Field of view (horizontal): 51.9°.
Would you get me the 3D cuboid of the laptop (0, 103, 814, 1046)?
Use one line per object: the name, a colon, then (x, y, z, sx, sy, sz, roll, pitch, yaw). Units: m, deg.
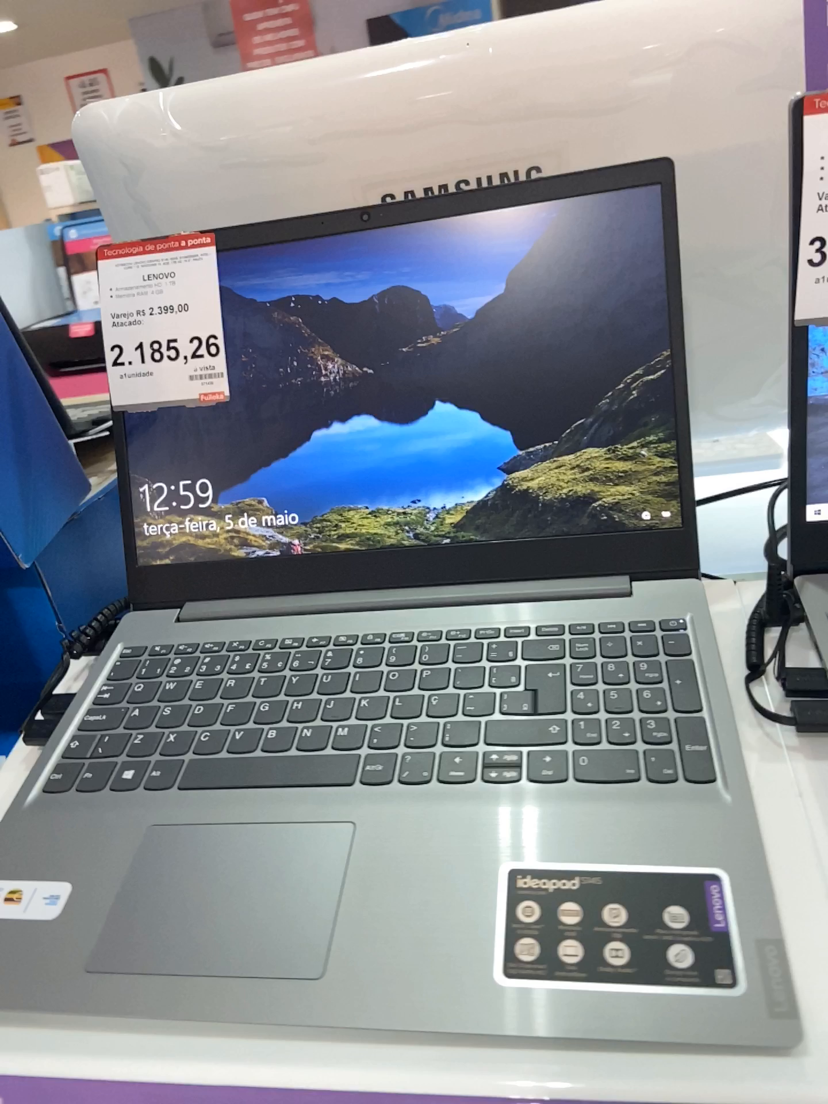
laptop: (-0.040, -0.040, 0.430, 0.358, 0.212, 0.390, -4, 33, 13)
